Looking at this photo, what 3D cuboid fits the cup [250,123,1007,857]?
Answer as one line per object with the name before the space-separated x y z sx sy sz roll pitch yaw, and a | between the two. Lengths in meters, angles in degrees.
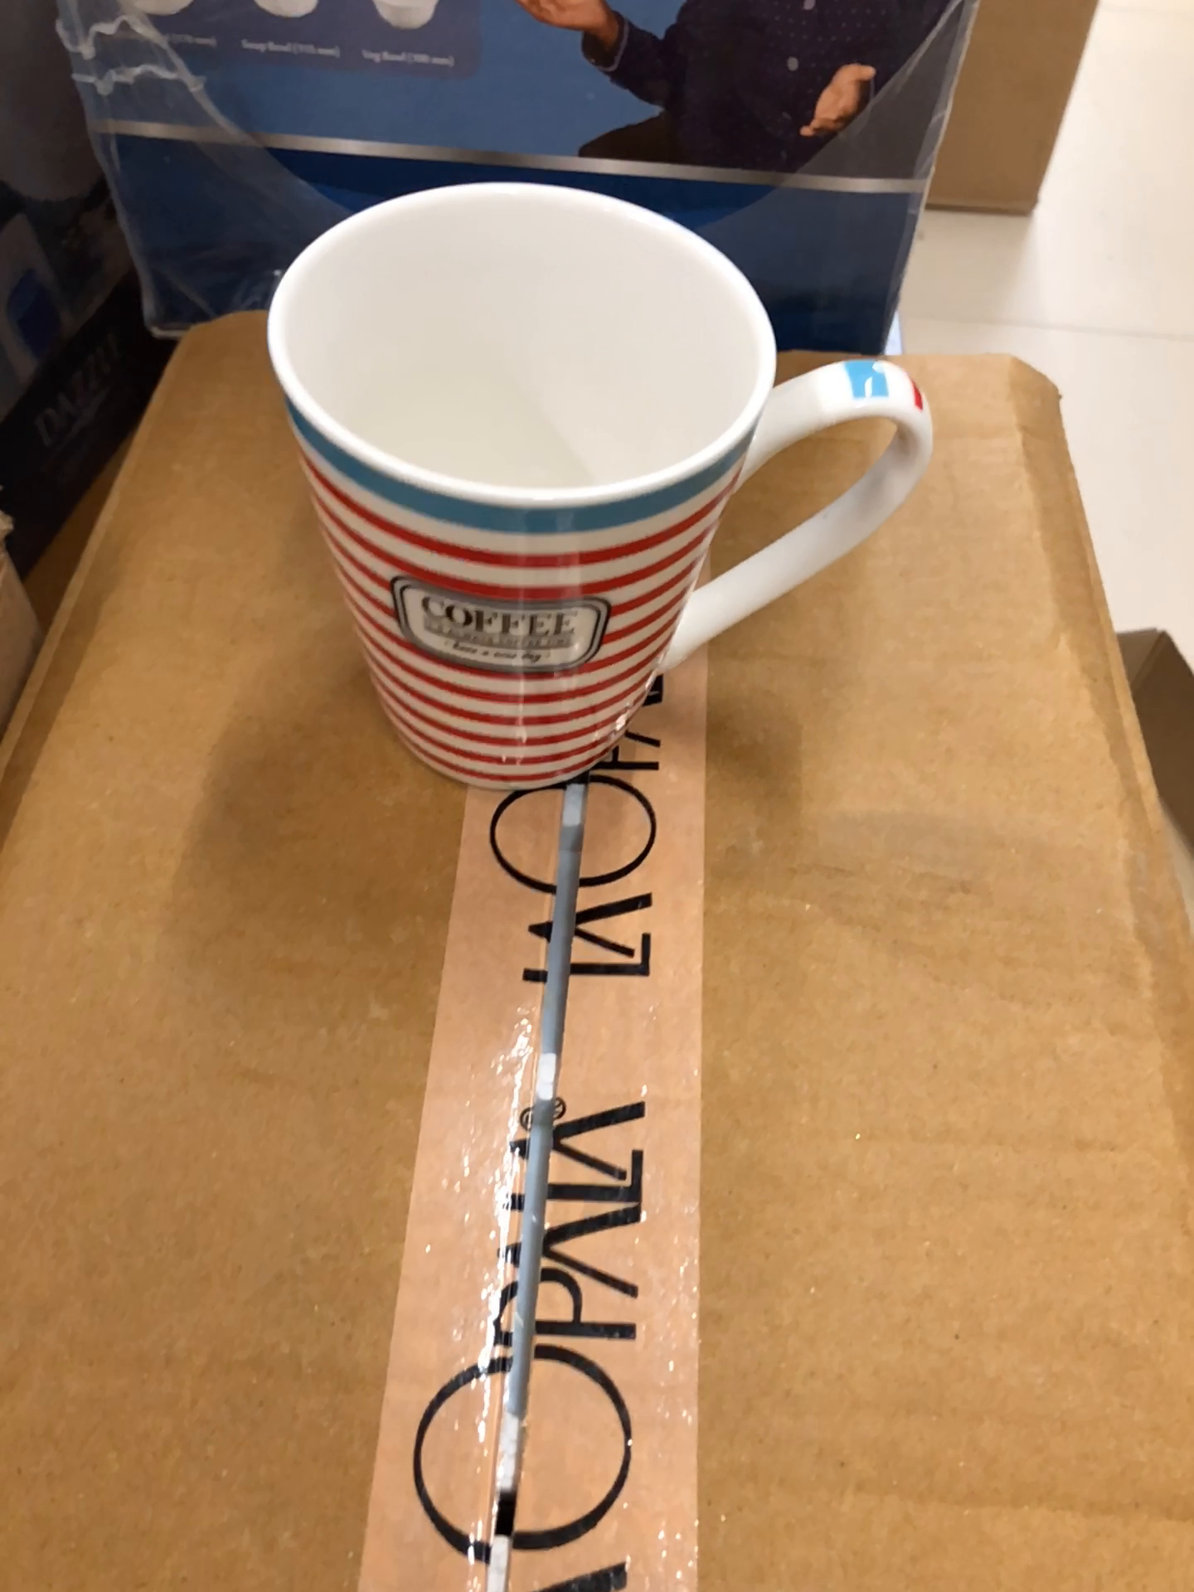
cup | -0.002 -0.058 0.257 0.110 0.099 0.091 -4 52 -7
